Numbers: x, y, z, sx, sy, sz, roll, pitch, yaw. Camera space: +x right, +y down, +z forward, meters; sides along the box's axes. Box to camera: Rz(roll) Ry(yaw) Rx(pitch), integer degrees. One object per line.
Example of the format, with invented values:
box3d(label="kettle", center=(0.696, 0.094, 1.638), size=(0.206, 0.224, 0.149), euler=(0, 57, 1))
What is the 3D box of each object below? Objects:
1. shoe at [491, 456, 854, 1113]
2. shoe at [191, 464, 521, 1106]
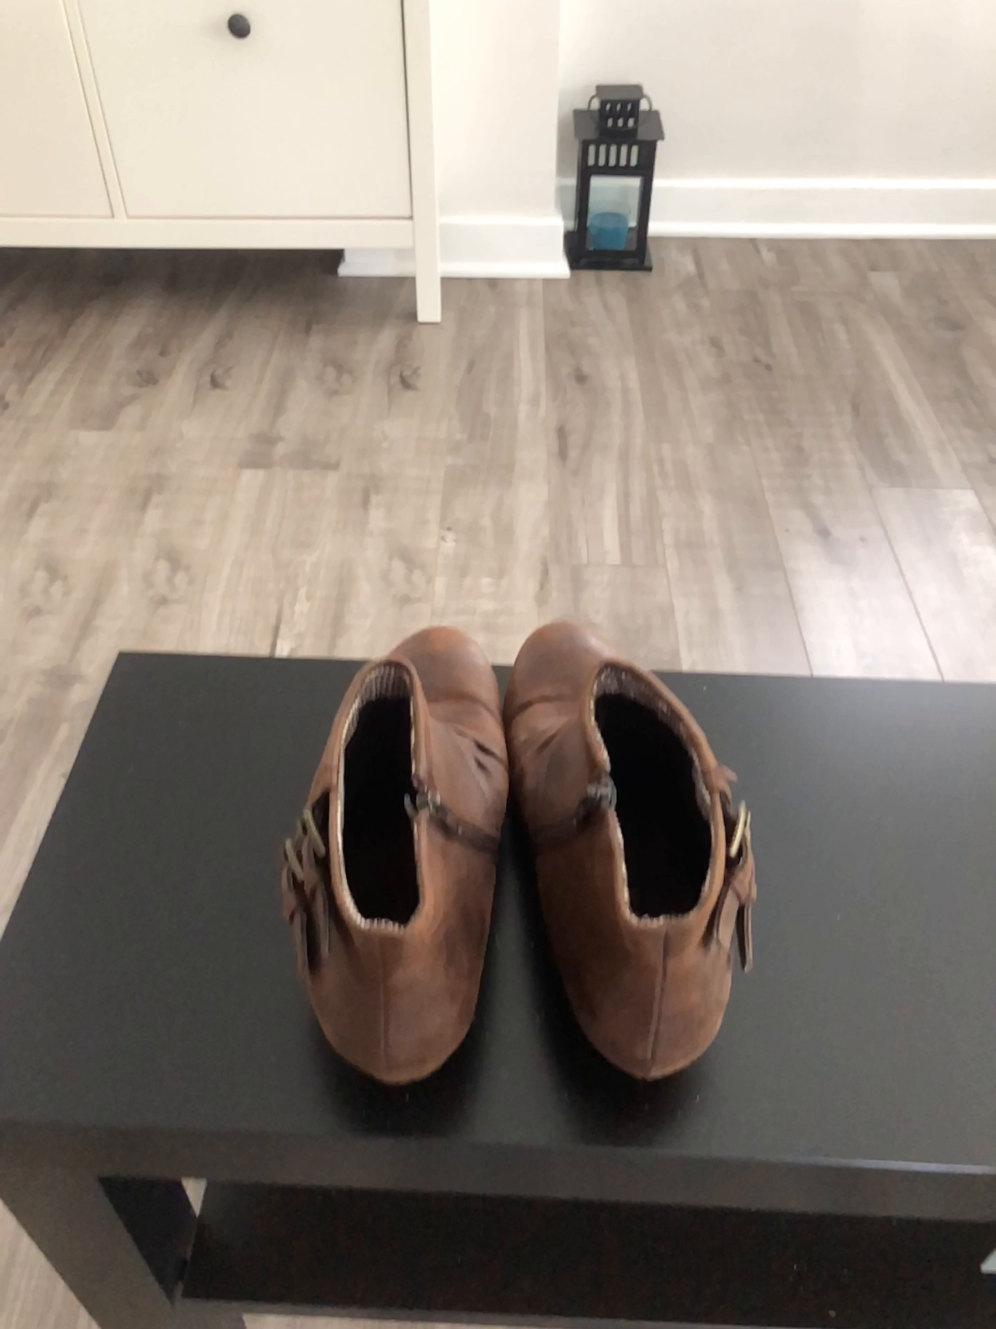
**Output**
box3d(label="shoe", center=(0.052, 0.037, 0.460), size=(0.090, 0.130, 0.241), euler=(-3, 44, -4))
box3d(label="shoe", center=(-0.040, 0.035, 0.446), size=(0.090, 0.110, 0.241), euler=(2, 44, 2))
